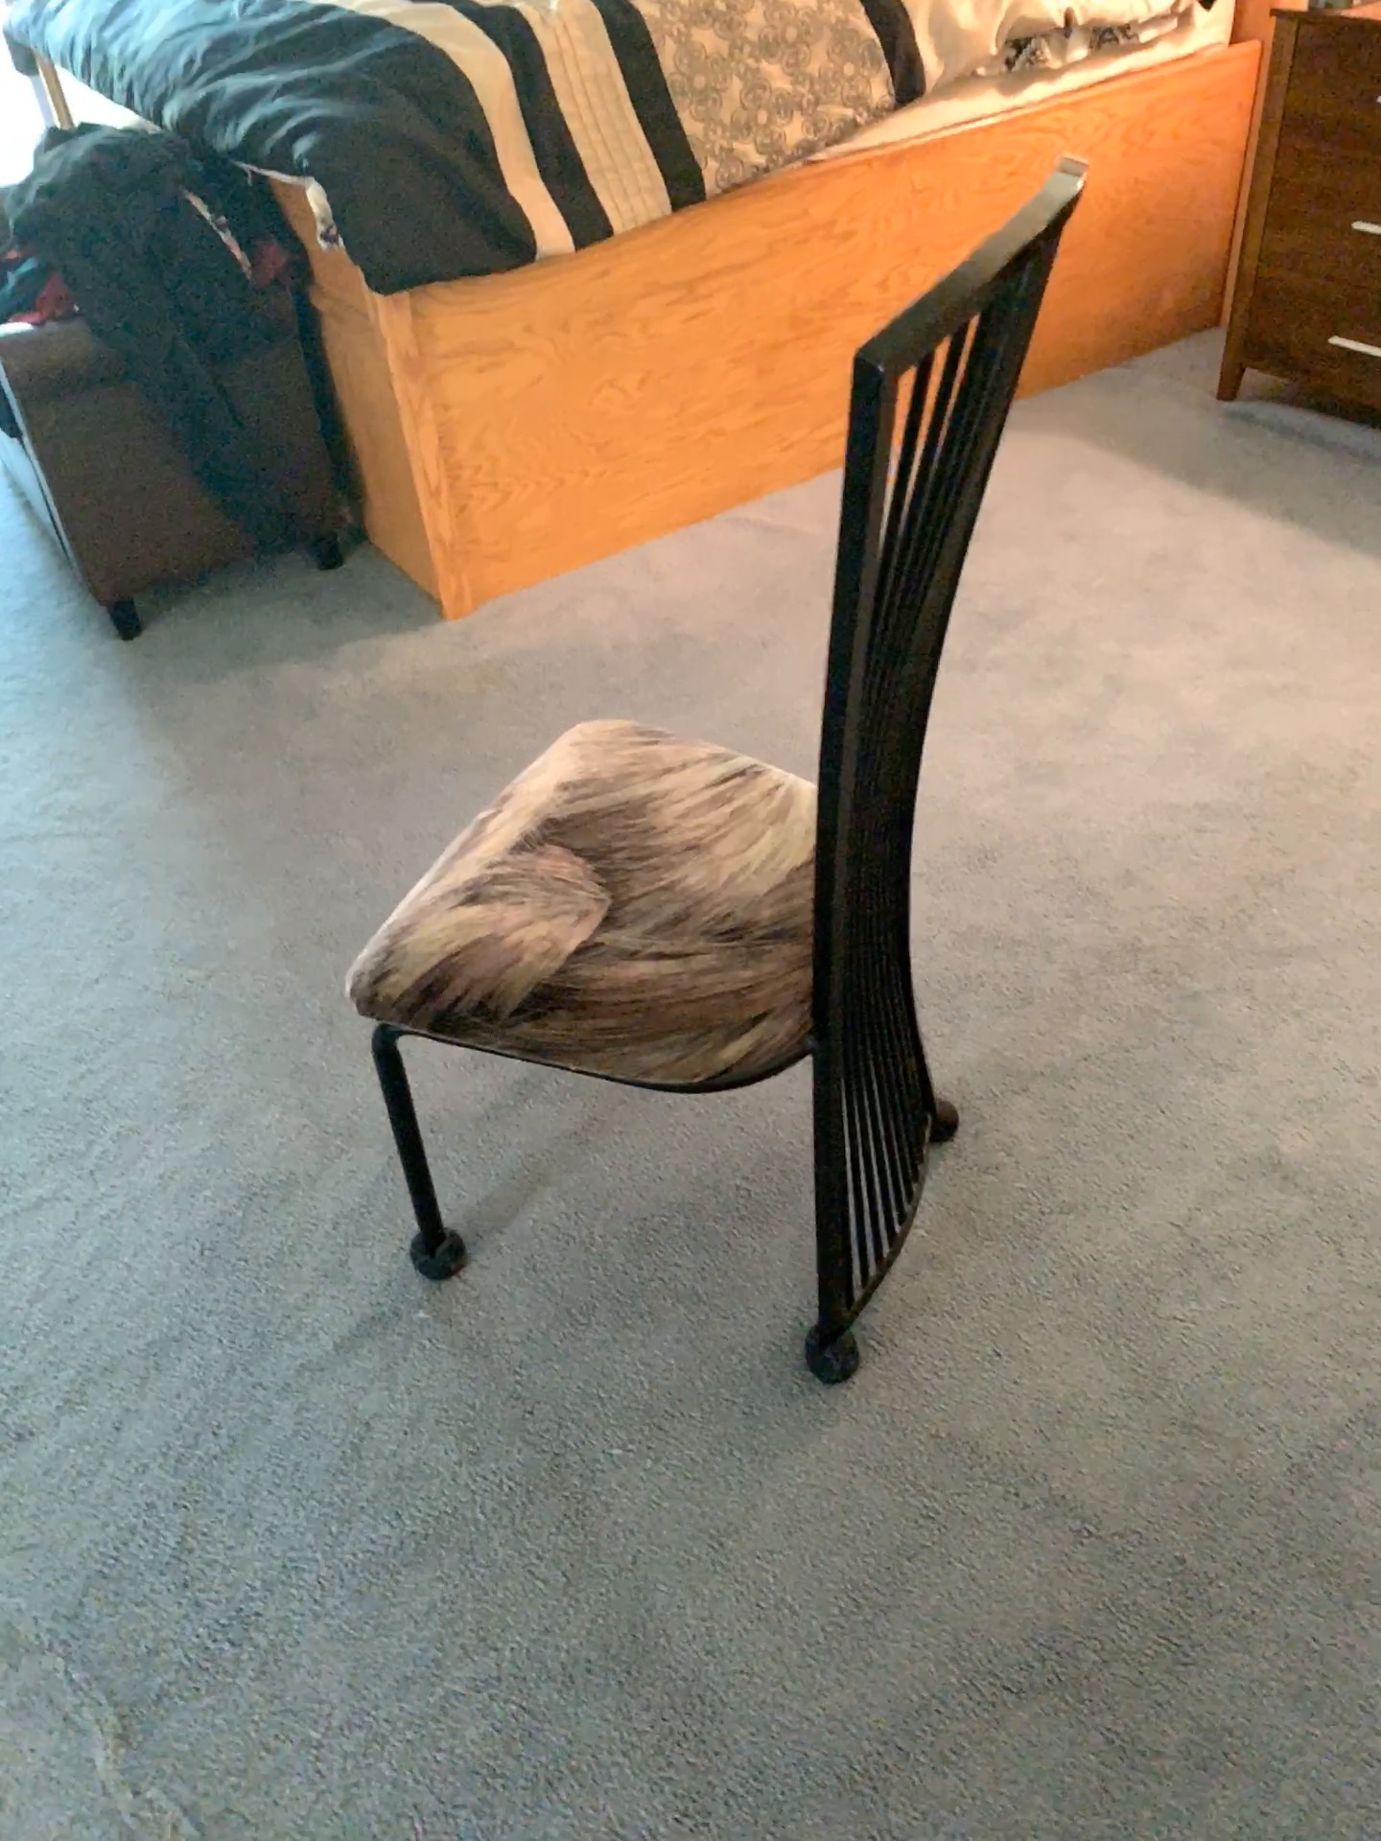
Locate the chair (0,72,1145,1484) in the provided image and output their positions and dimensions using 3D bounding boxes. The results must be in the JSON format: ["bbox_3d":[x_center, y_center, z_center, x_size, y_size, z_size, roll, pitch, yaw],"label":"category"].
[{"bbox_3d":[-0.007,-0.094,1.177,0.541,0.974,0.512,13,44,21],"label":"chair"}]
